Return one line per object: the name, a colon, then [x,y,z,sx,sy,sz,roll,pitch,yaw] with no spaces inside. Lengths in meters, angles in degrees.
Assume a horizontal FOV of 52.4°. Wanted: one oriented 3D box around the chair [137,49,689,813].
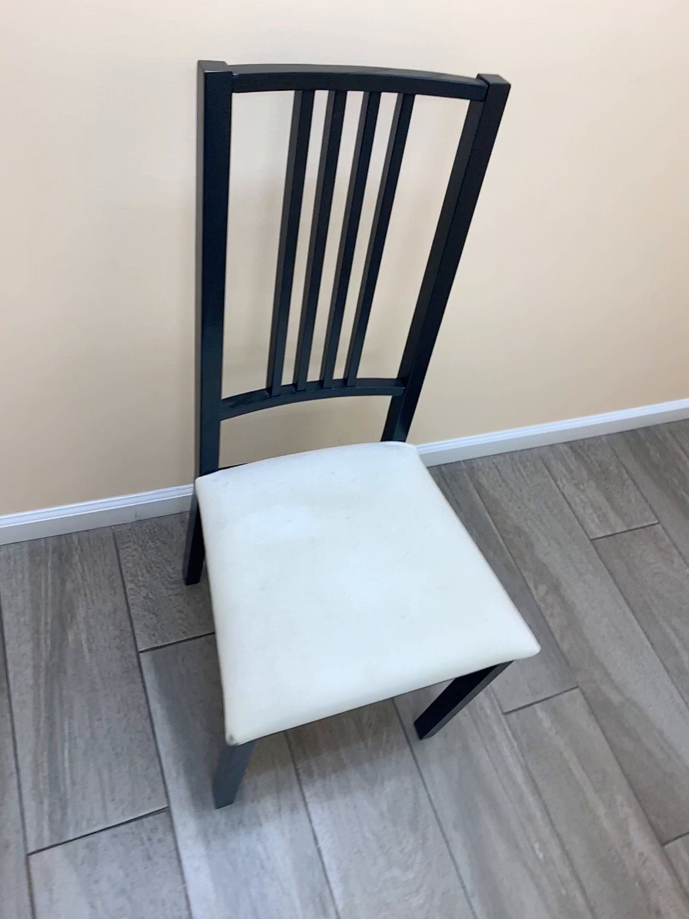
chair: [-0.005,0.065,0.978,0.439,0.963,0.498,-10,57,-21]
